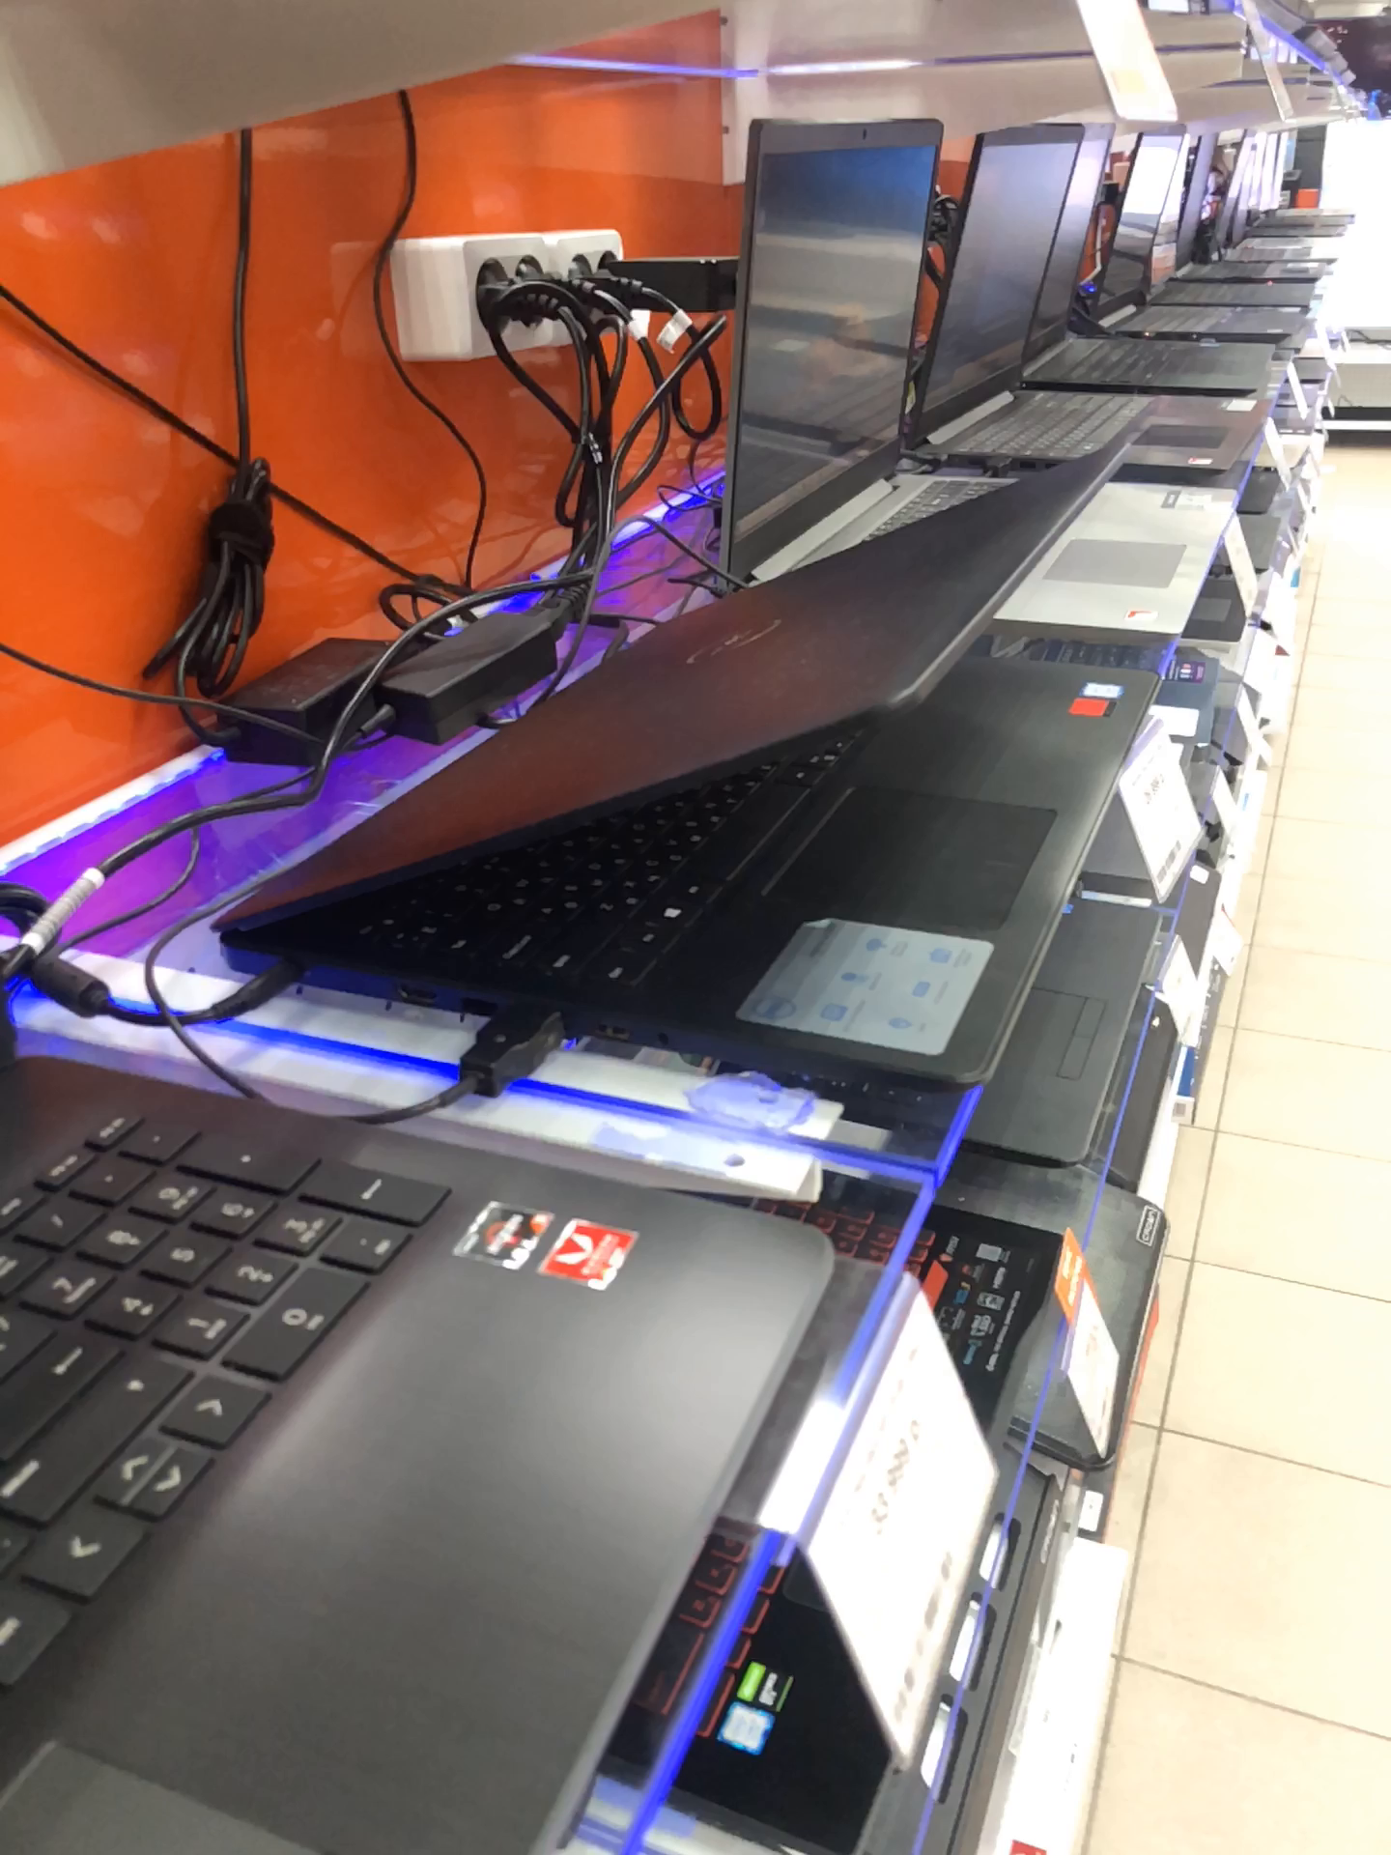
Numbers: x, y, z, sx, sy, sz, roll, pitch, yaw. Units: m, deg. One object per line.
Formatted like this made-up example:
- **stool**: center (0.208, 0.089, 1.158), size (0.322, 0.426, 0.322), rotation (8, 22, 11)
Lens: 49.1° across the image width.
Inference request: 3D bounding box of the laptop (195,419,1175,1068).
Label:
- **laptop**: center (0.033, -0.107, 0.576), size (0.238, 0.100, 0.373), rotation (8, 29, 20)
